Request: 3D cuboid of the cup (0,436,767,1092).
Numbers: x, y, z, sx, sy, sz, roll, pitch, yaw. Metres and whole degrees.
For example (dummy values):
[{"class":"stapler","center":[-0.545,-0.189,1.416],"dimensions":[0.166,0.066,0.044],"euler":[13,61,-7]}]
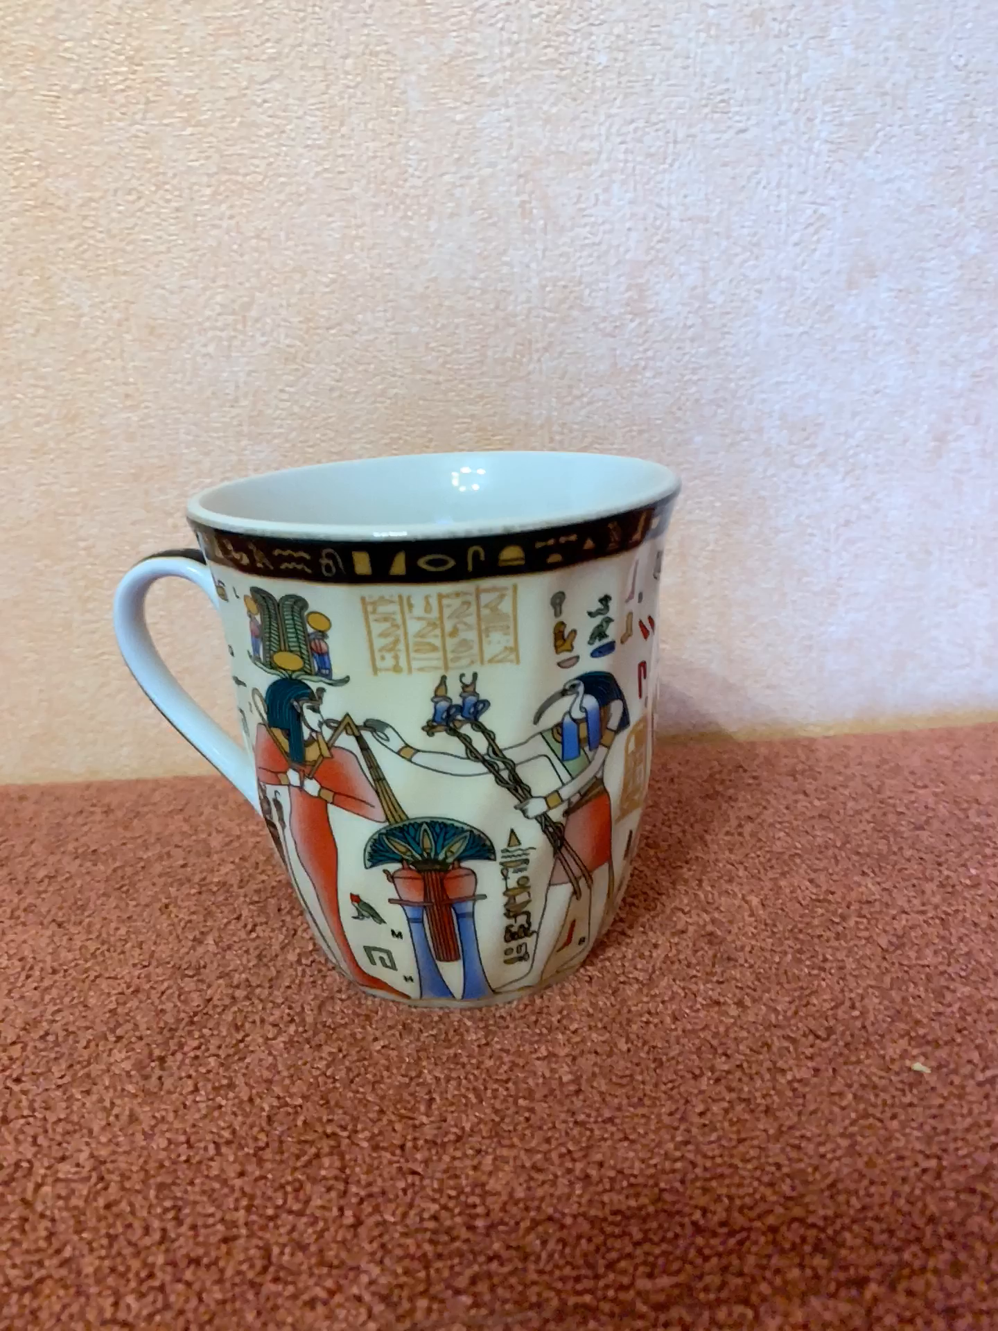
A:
[{"class":"cup","center":[-0.012,0.007,0.203],"dimensions":[0.115,0.087,0.086],"euler":[4,21,19]}]
